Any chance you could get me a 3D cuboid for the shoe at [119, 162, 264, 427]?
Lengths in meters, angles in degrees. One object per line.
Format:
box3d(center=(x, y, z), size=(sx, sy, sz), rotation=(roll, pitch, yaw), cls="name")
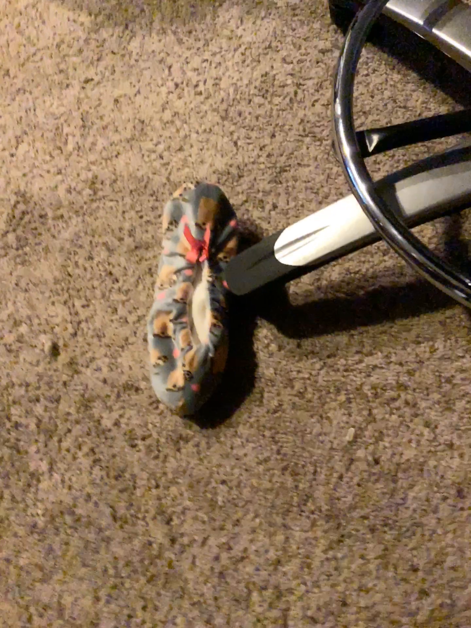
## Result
box3d(center=(-0.037, -0.020, 0.539), size=(0.120, 0.070, 0.260), rotation=(-2, 71, 11), cls="shoe")
